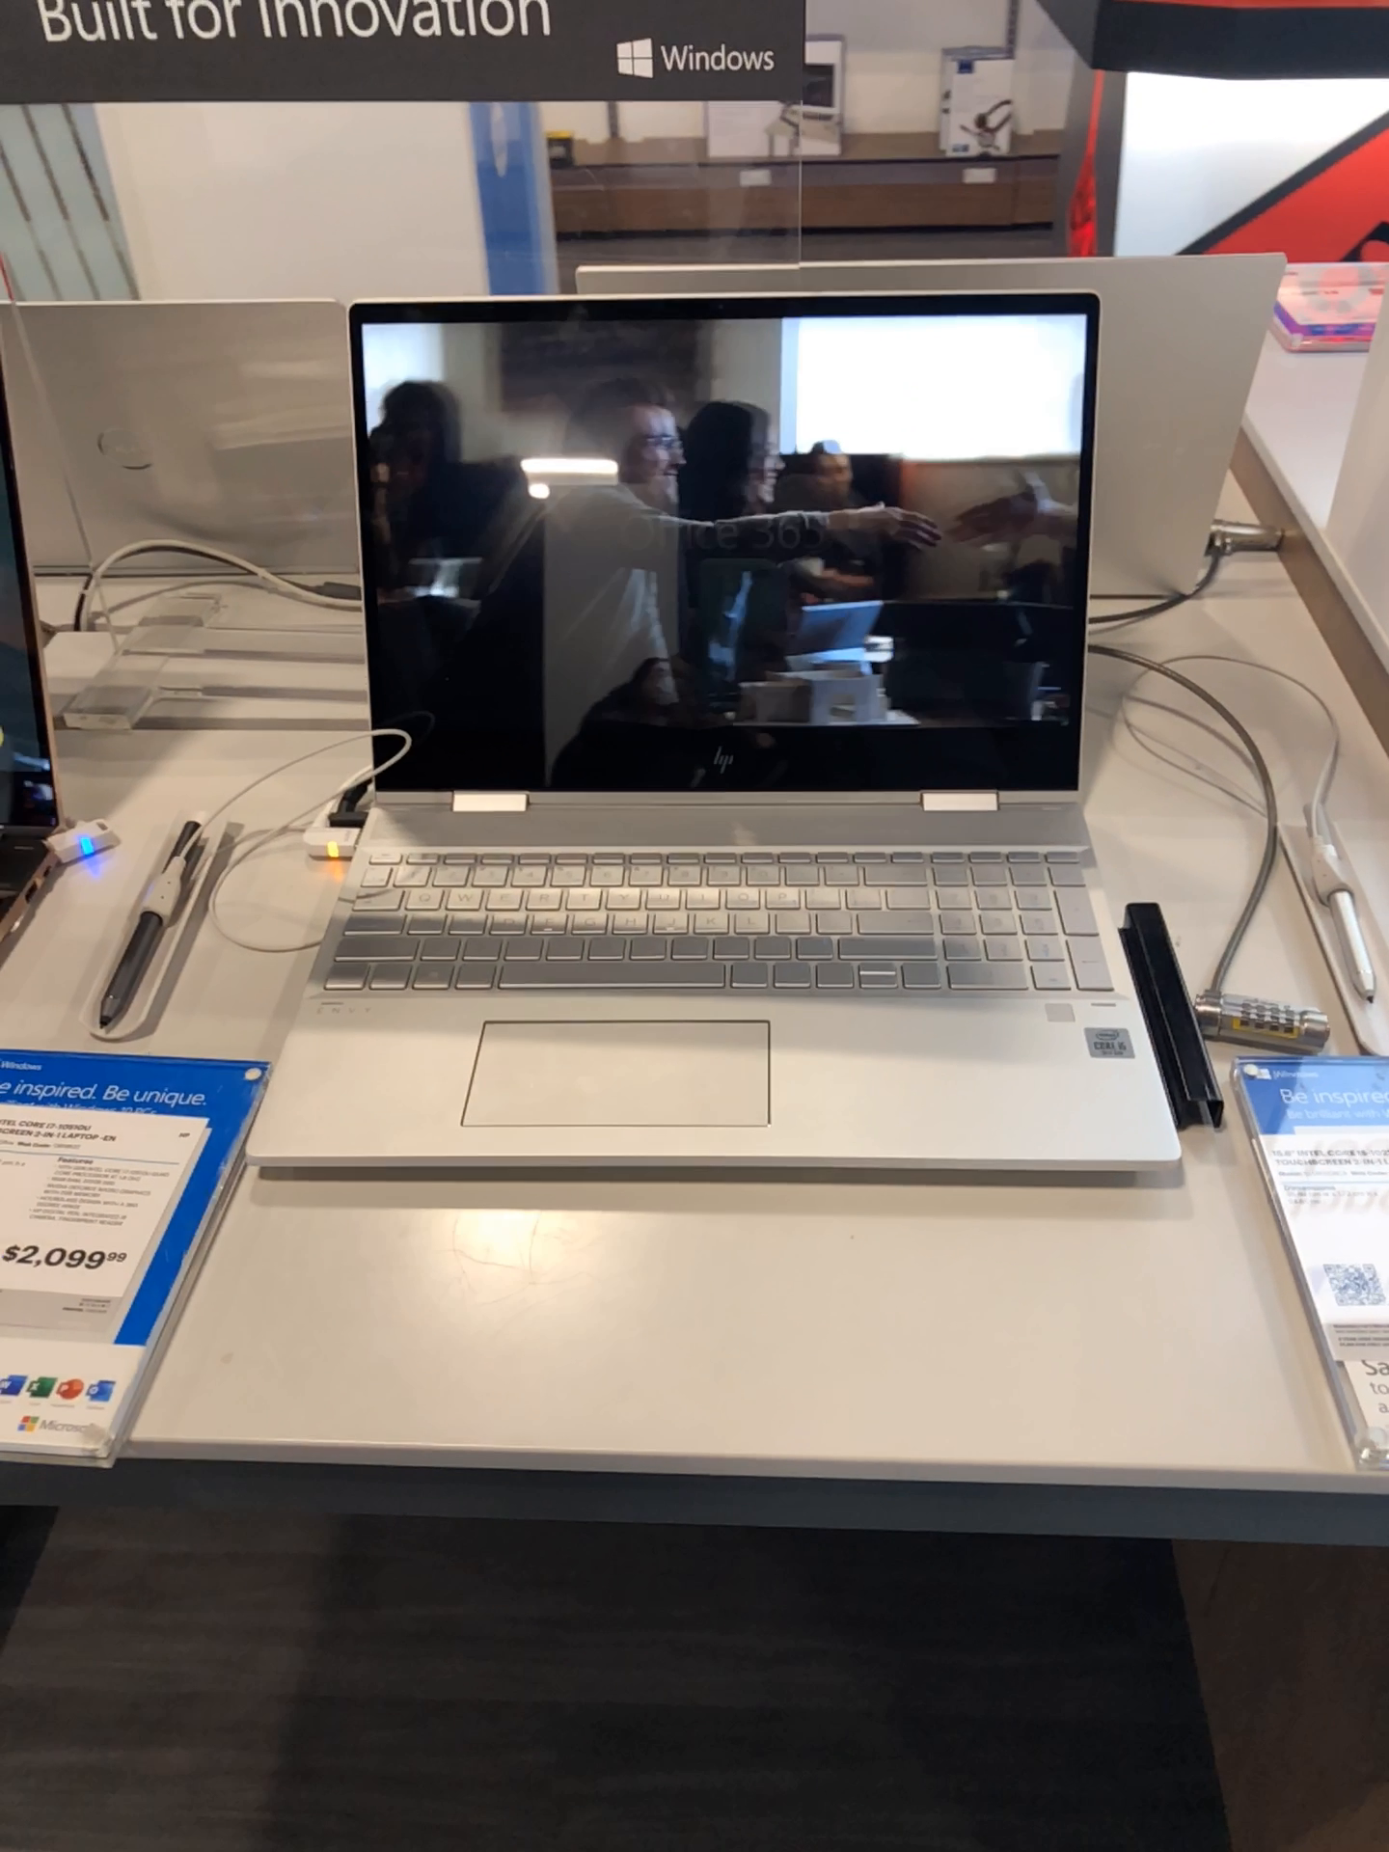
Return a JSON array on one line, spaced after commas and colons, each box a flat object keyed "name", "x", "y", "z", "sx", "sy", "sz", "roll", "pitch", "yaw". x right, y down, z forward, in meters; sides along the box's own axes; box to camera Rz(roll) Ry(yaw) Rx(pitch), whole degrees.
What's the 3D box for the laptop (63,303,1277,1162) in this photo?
[{"name": "laptop", "x": 0.001, "y": -0.102, "z": 0.655, "sx": 0.358, "sy": 0.210, "sz": 0.355, "roll": 0, "pitch": 38, "yaw": 3}]
